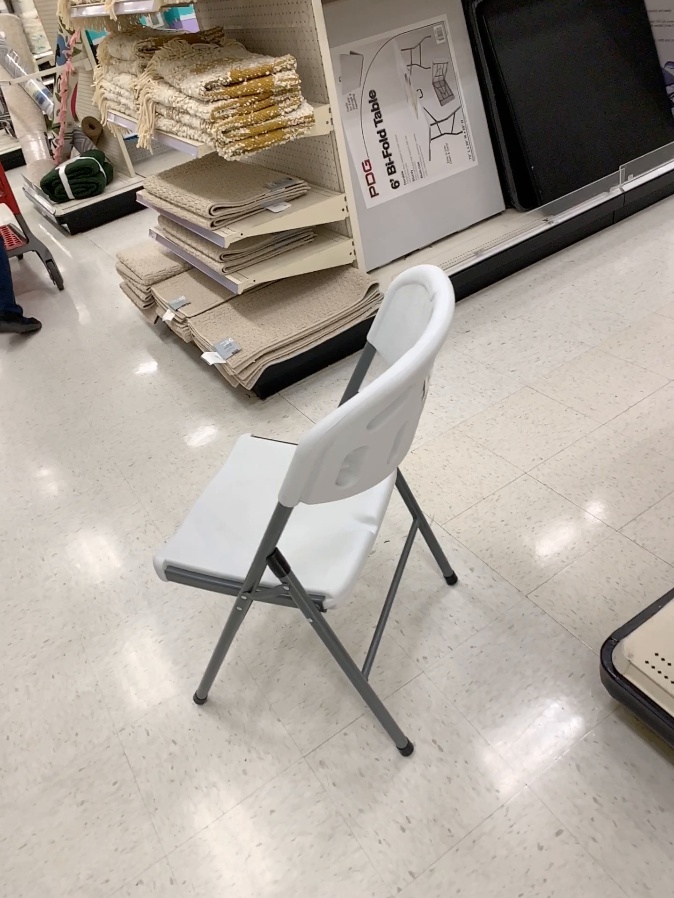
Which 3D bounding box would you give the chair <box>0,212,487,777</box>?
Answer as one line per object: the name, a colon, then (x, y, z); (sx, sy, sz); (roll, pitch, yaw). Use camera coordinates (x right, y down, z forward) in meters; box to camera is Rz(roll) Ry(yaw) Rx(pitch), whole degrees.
chair: (-0.072, 0.087, 1.286); (0.571, 0.845, 0.522); (4, 40, 22)
